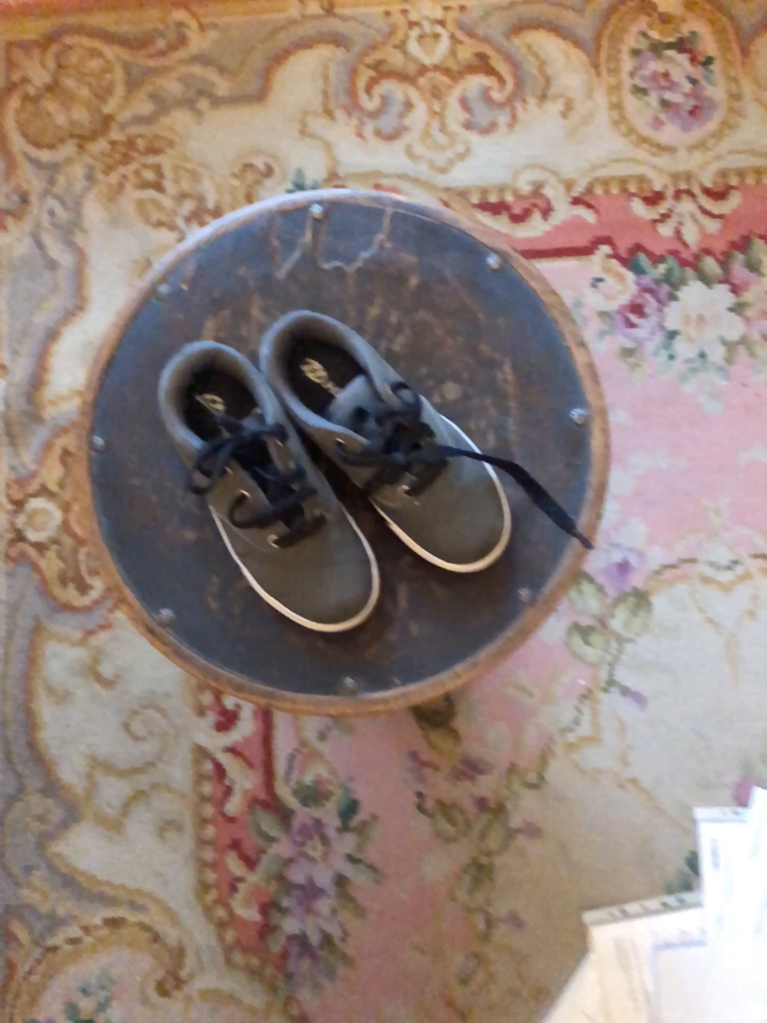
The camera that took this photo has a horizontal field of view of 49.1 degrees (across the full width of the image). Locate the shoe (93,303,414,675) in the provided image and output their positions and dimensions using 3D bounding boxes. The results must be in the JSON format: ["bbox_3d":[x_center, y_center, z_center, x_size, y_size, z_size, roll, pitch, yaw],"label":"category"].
[{"bbox_3d":[-0.078,-0.010,0.550,0.090,0.100,0.211,-35,83,-3],"label":"shoe"}]

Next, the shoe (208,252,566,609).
[{"bbox_3d":[0.002,-0.045,0.546,0.090,0.100,0.211,-44,83,-4],"label":"shoe"}]
